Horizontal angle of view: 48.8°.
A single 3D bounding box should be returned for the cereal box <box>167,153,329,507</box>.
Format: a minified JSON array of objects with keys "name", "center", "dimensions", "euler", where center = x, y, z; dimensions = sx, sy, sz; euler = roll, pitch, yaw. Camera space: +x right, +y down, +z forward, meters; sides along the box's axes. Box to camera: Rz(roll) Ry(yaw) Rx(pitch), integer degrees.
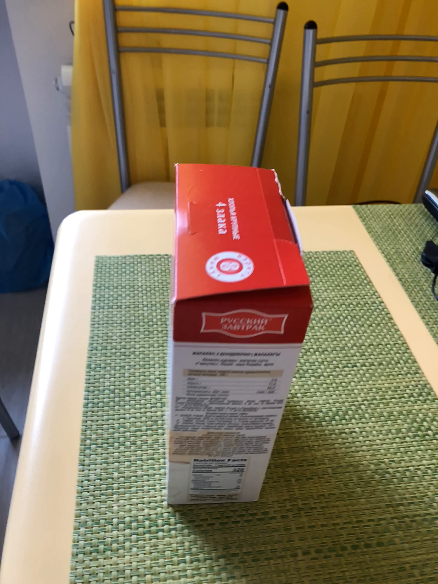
[{"name":"cereal box","center":[0.003,0.032,0.321],"dimensions":[0.070,0.198,0.131],"euler":[1,42,-5]}]
